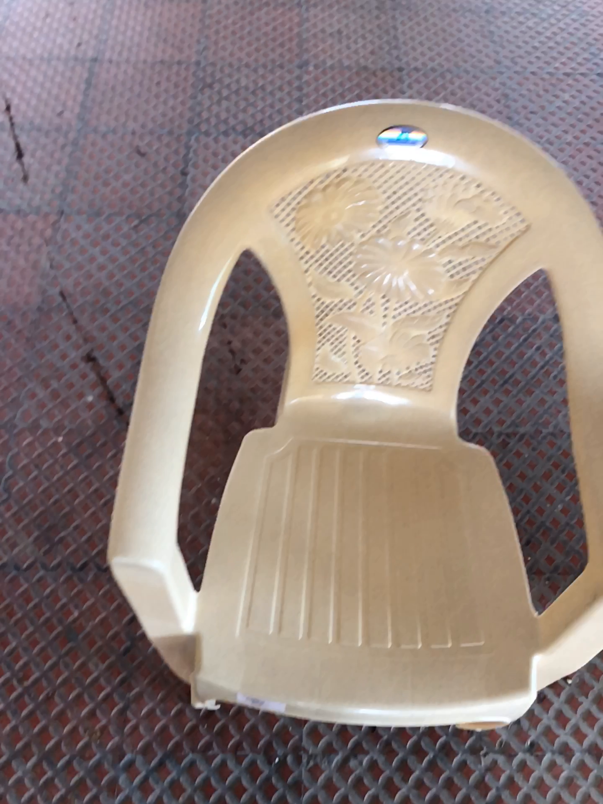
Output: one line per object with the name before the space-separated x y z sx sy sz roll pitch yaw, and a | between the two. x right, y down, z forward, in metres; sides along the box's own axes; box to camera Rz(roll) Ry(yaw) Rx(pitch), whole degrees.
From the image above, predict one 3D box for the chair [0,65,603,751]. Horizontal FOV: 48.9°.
chair | 0.073 0.113 0.925 0.530 0.807 0.613 4 61 0
